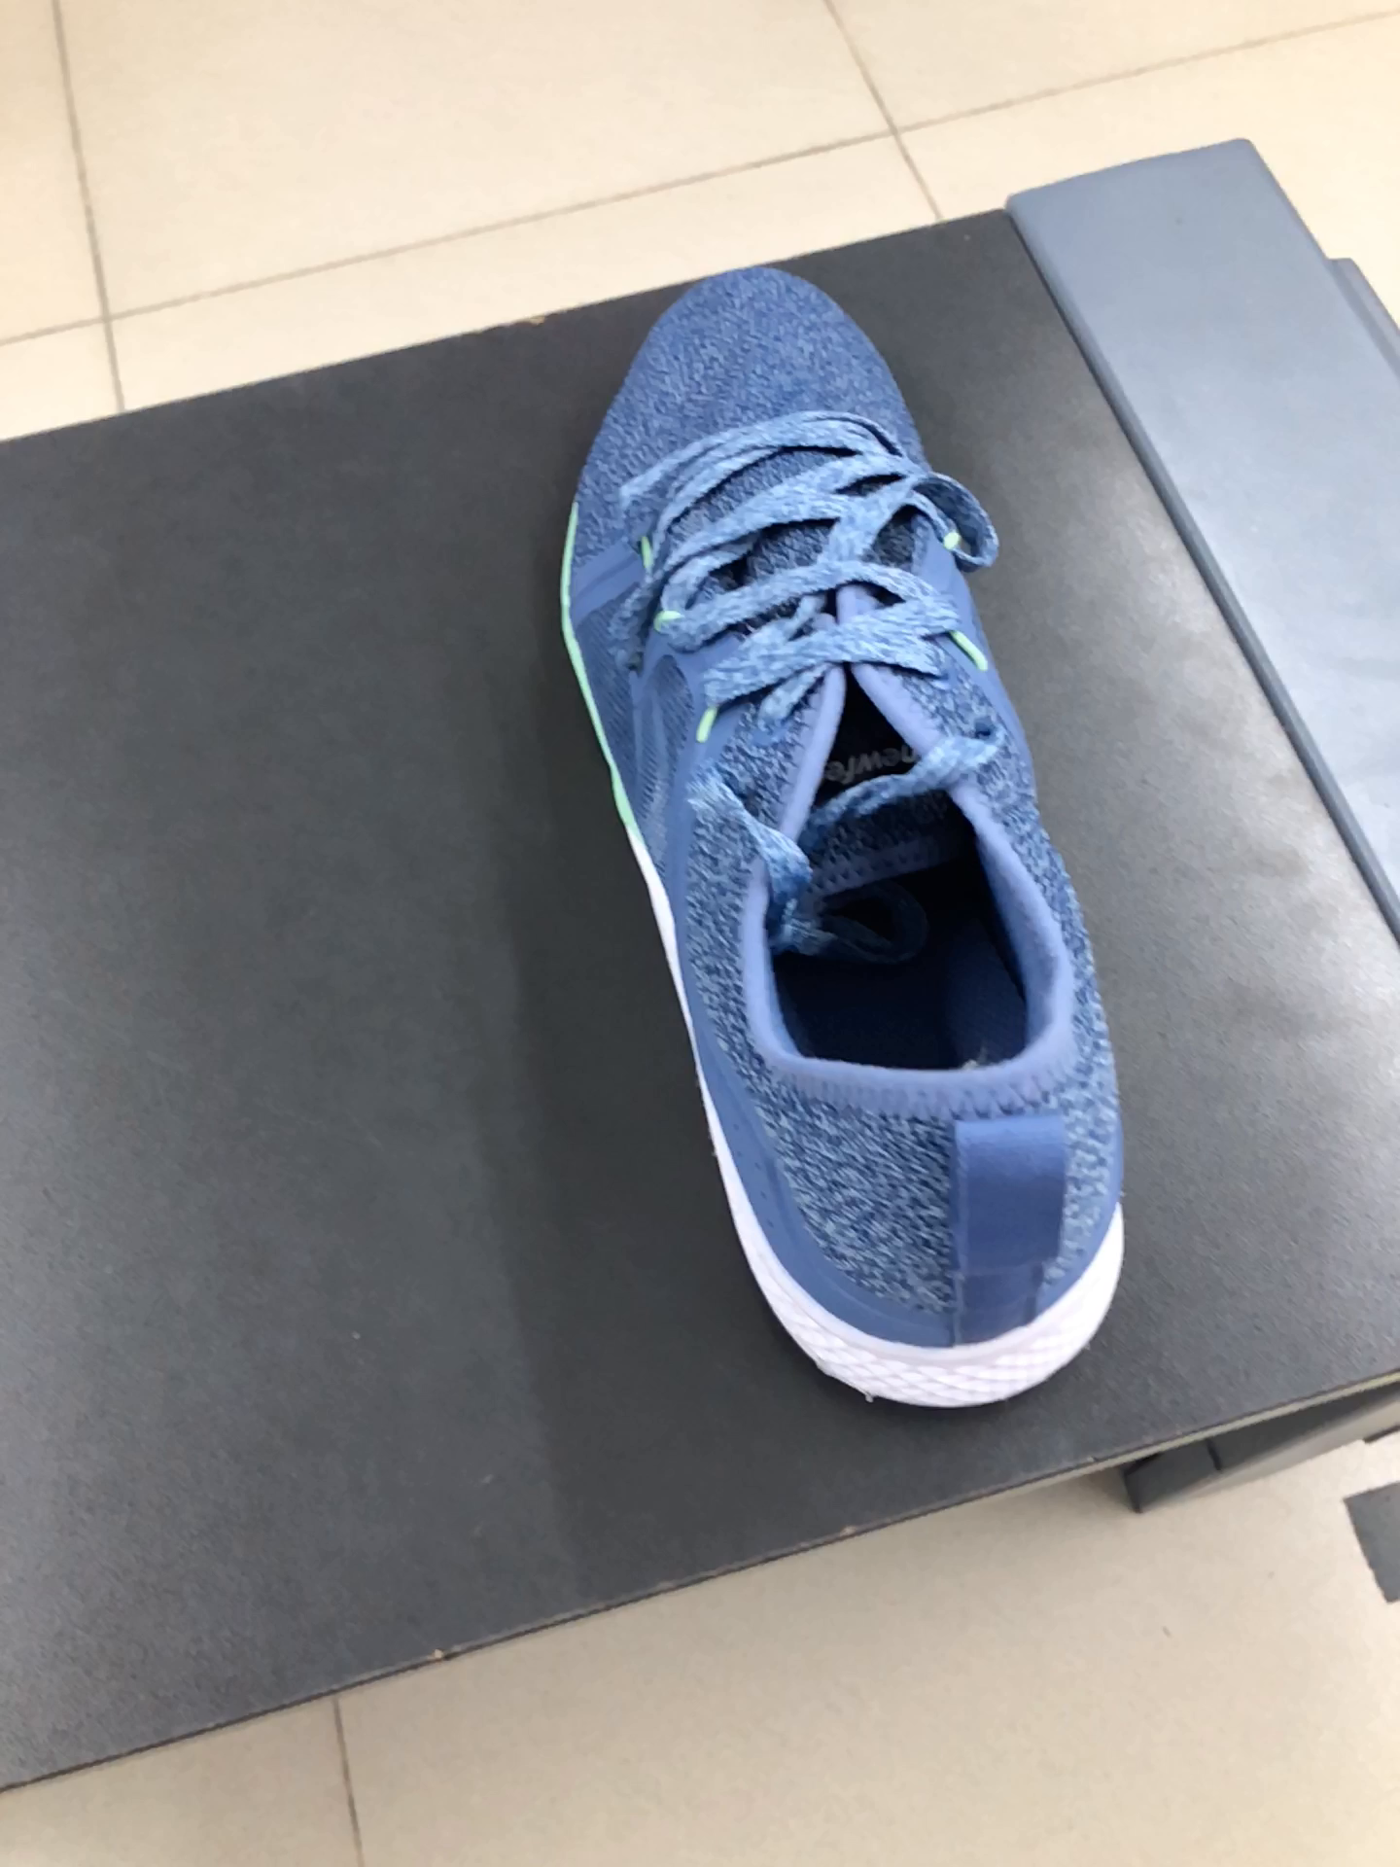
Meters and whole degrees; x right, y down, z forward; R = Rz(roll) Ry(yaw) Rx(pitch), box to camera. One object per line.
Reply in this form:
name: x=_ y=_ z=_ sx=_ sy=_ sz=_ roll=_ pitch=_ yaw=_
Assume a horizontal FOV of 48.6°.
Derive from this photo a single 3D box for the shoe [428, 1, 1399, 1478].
shoe: x=0.024 y=-0.053 z=0.309 sx=0.100 sy=0.080 sz=0.281 roll=-13 pitch=64 yaw=-4
